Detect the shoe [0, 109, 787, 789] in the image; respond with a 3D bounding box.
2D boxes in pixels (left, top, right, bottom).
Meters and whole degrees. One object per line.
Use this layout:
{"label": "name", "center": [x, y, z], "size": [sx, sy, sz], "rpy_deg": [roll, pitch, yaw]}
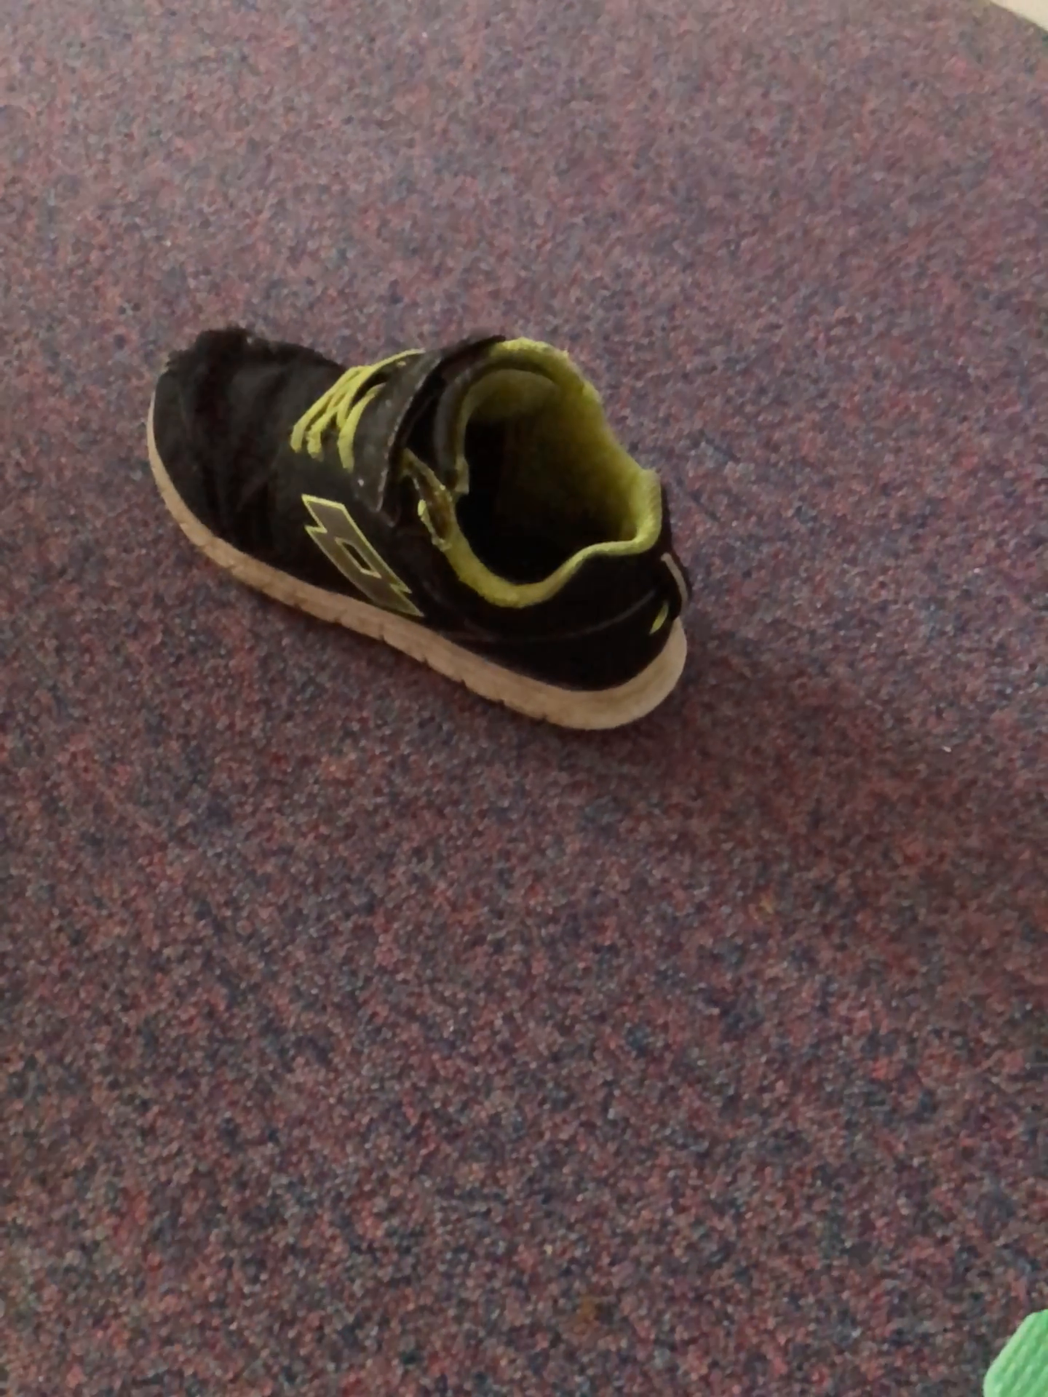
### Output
{"label": "shoe", "center": [-0.047, -0.080, 0.367], "size": [0.220, 0.100, 0.090], "rpy_deg": [28, 61, 13]}
